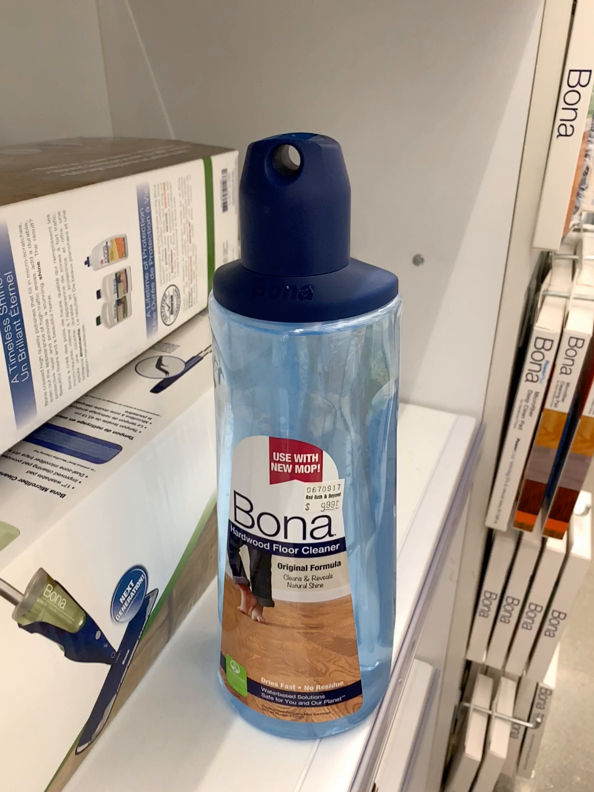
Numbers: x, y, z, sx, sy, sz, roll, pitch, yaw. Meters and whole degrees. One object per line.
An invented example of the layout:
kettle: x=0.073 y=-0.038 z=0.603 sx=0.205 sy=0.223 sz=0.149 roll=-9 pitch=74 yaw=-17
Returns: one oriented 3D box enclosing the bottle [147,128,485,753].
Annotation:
bottle: x=0.010 y=0.033 z=0.283 sx=0.100 sy=0.279 sz=0.080 roll=4 pitch=29 yaw=8
